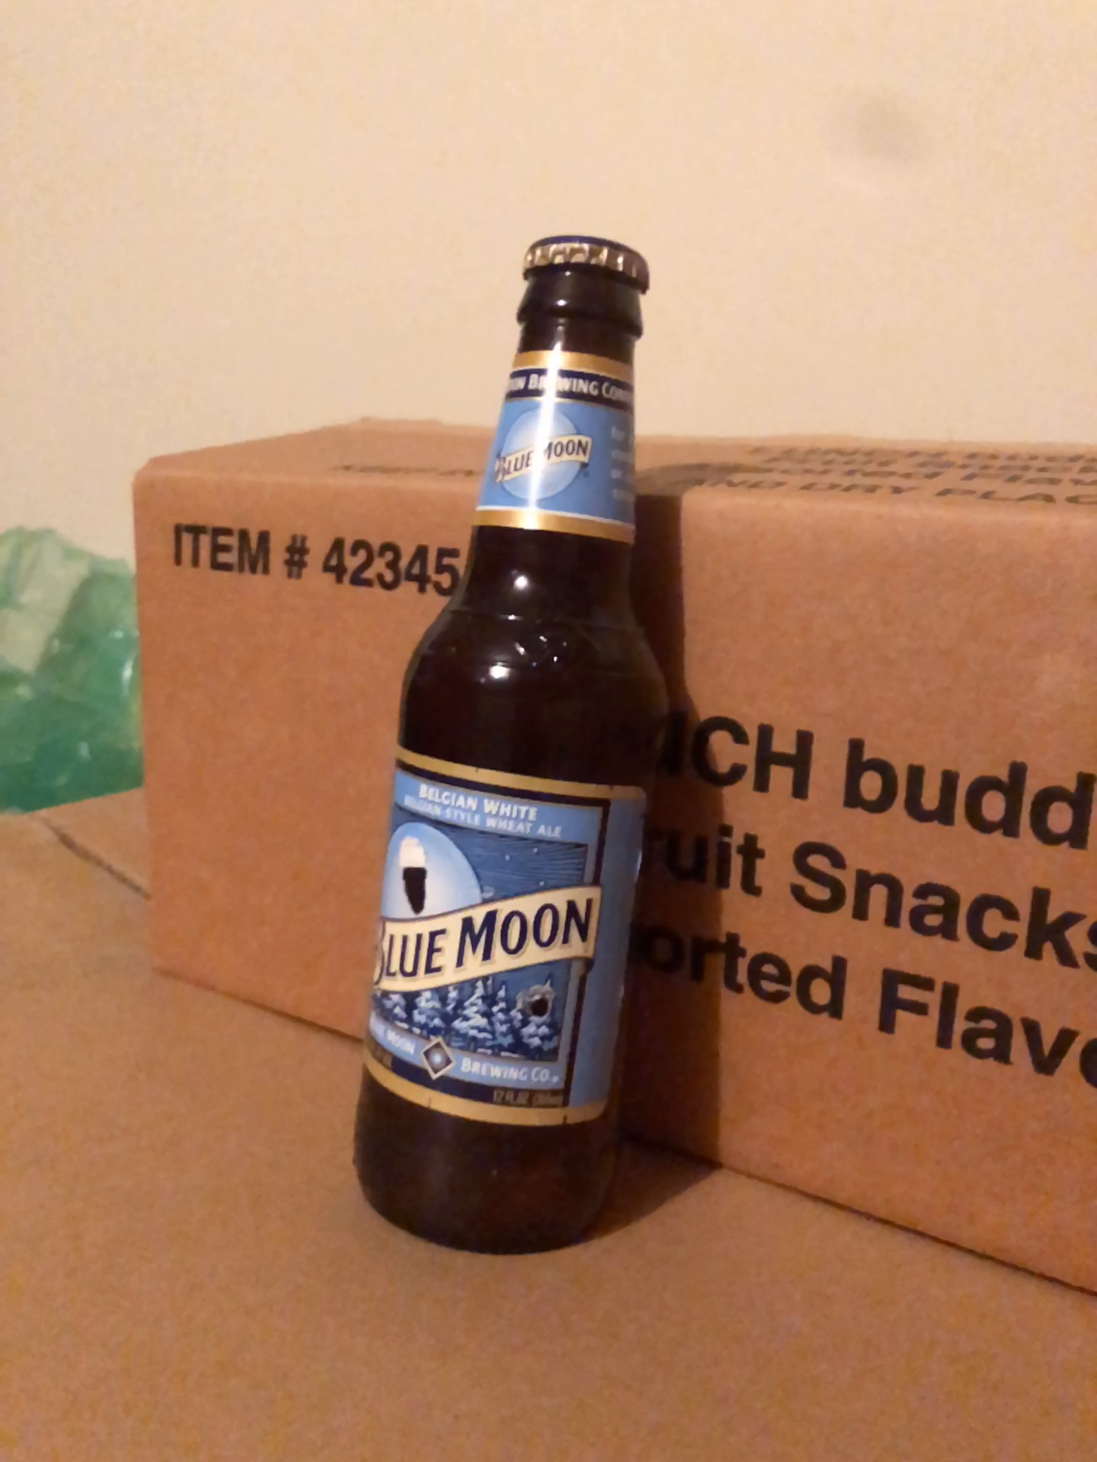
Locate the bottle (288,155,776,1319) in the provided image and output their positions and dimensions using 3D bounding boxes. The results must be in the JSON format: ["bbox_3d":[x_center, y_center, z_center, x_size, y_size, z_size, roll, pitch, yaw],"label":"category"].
[{"bbox_3d":[-0.004,0.000,0.261,0.070,0.210,0.060,8,8,26],"label":"bottle"}]
